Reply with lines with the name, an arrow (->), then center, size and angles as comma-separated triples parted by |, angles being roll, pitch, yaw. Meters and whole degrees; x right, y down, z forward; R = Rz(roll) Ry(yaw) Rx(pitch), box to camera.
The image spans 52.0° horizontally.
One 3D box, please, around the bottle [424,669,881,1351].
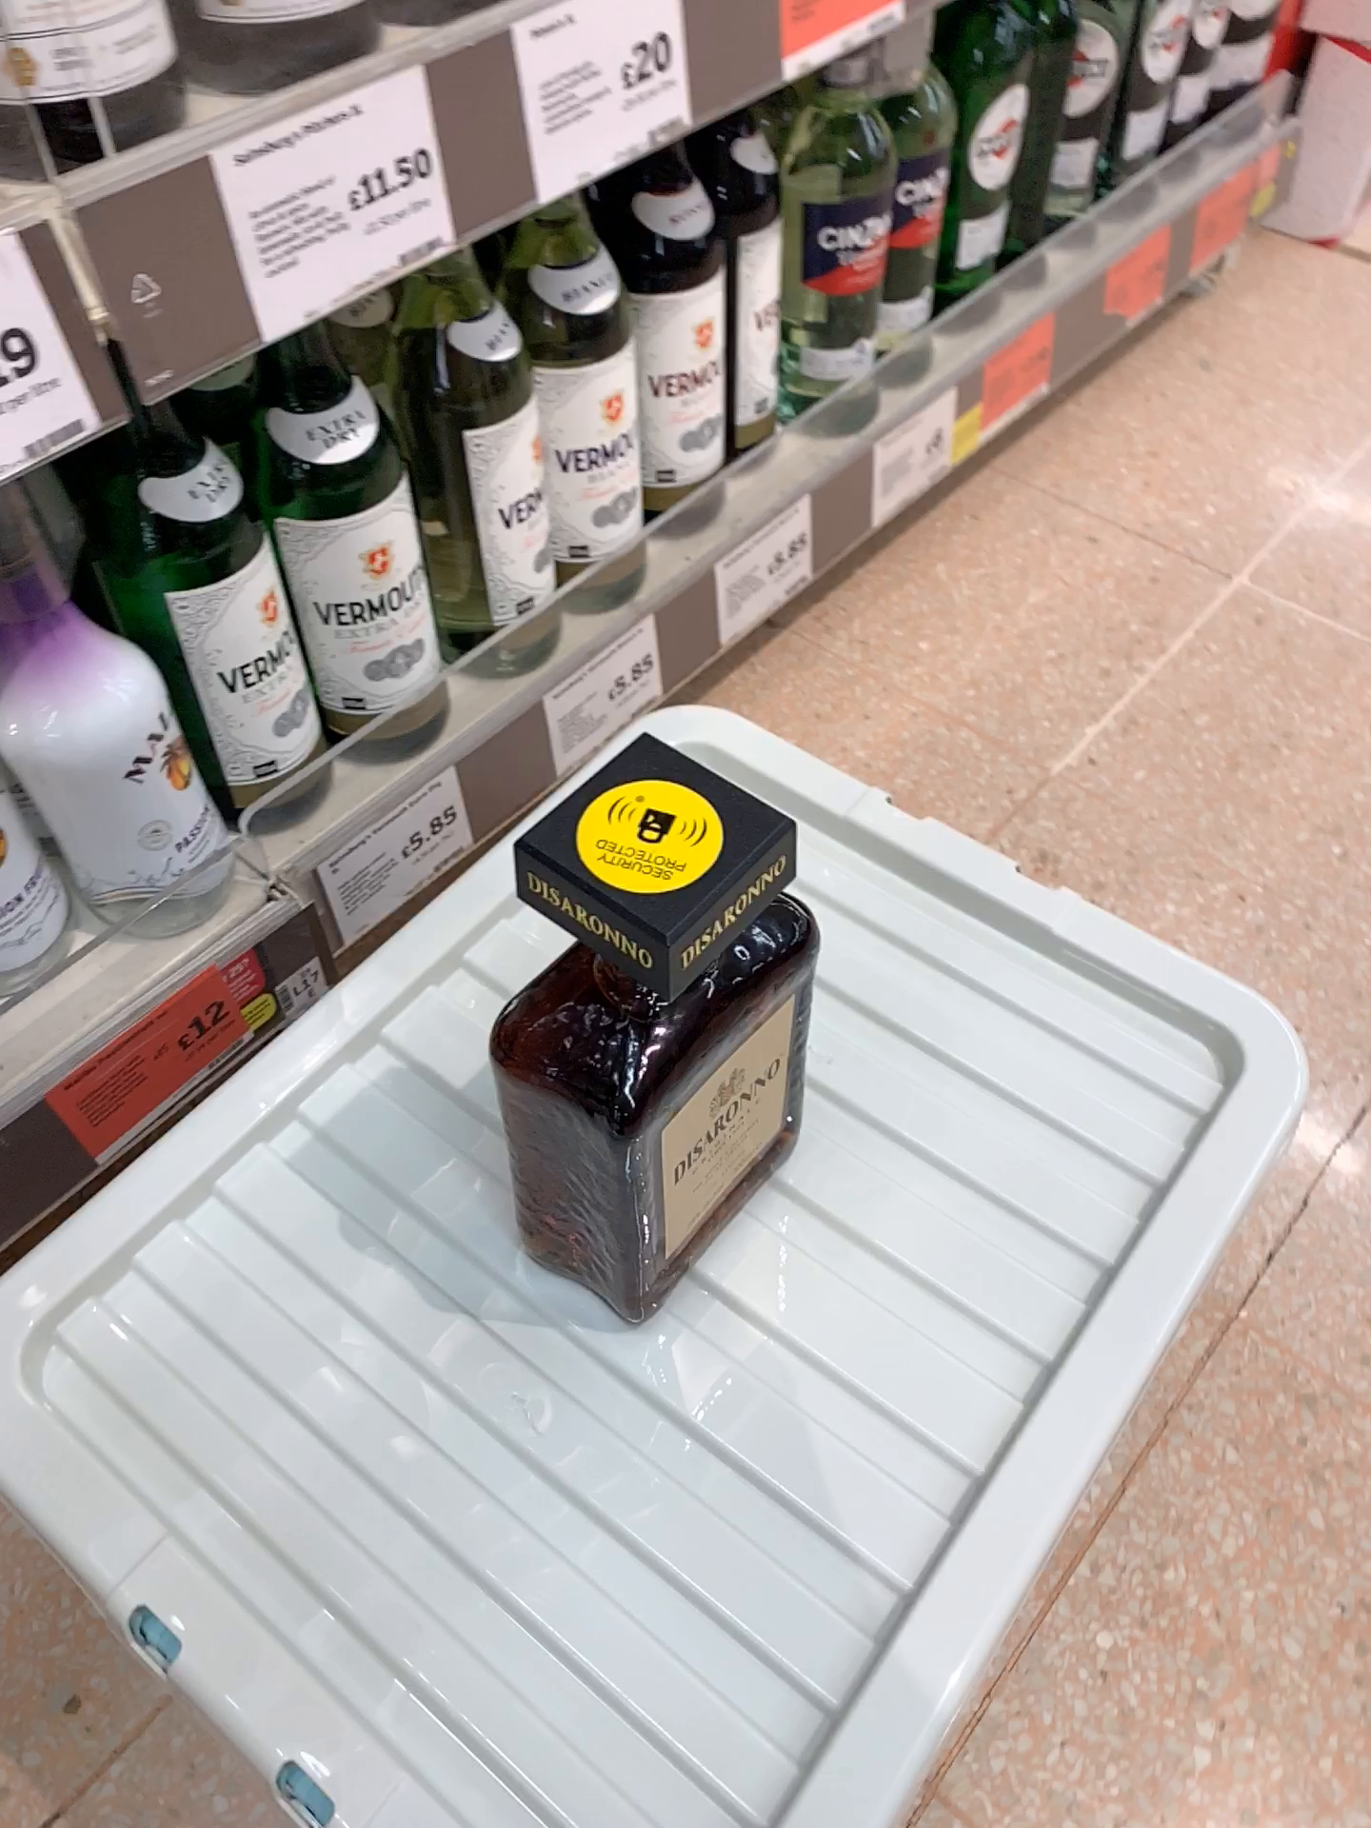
bottle -> -0.007, 0.042, 0.465 | 0.070, 0.208, 0.111 | 33, 58, 23
